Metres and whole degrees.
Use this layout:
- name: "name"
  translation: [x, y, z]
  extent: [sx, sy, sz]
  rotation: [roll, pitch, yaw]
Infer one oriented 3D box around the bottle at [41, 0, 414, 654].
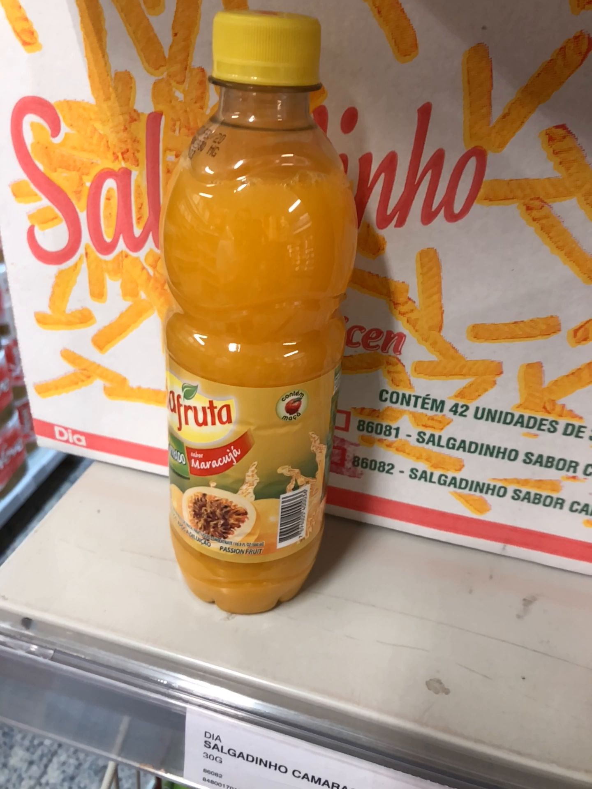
- name: "bottle"
  translation: [-0.019, -0.014, 0.220]
  extent: [0.070, 0.198, 0.060]
  rotation: [21, 38, 24]
